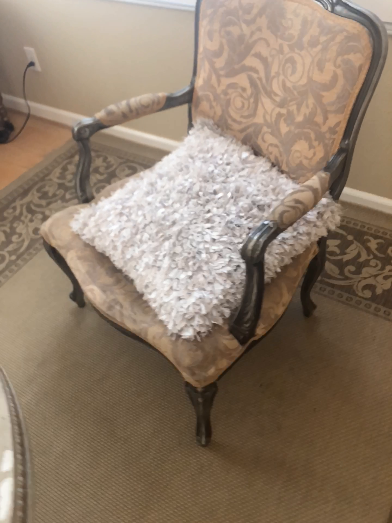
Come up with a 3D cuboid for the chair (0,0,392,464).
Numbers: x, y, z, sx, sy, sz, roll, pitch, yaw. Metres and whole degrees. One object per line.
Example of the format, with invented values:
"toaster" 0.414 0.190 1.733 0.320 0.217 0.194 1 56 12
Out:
"chair" -0.045 -0.171 1.120 0.653 0.972 0.762 -35 53 -25
